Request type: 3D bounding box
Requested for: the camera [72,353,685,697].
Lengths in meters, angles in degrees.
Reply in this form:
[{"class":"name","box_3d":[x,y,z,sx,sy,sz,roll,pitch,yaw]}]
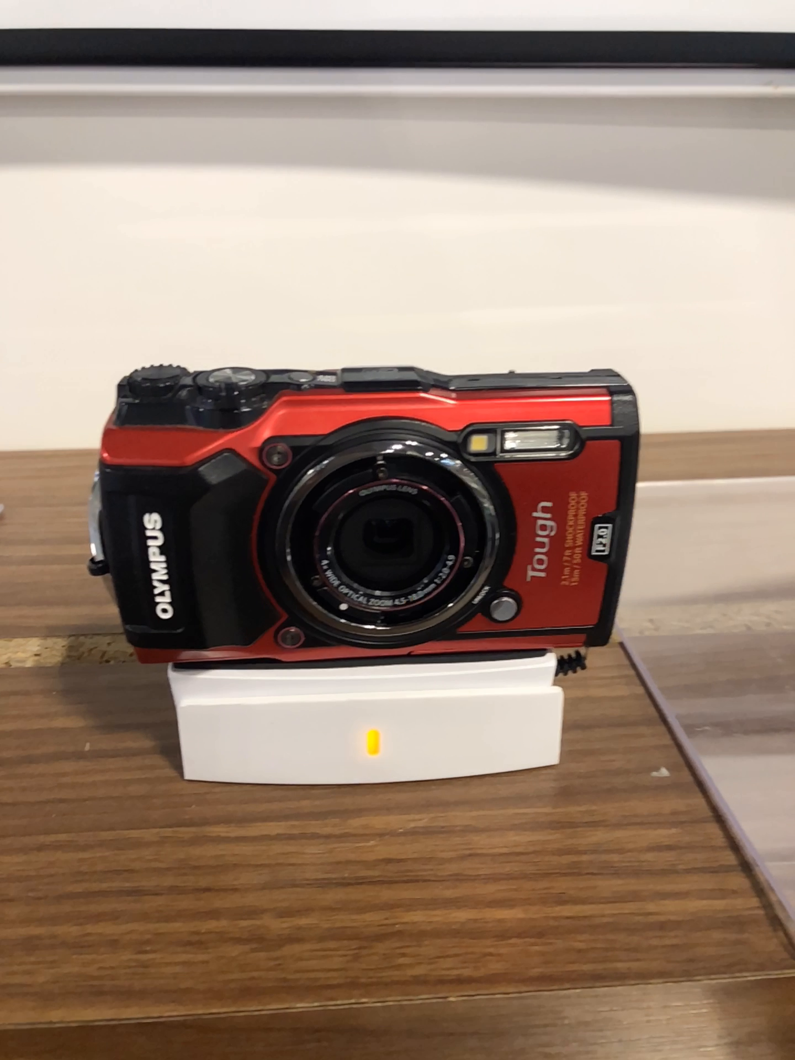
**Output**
[{"class":"camera","box_3d":[-0.004,-0.001,0.201,0.120,0.070,0.030,-1,24,-2]}]
